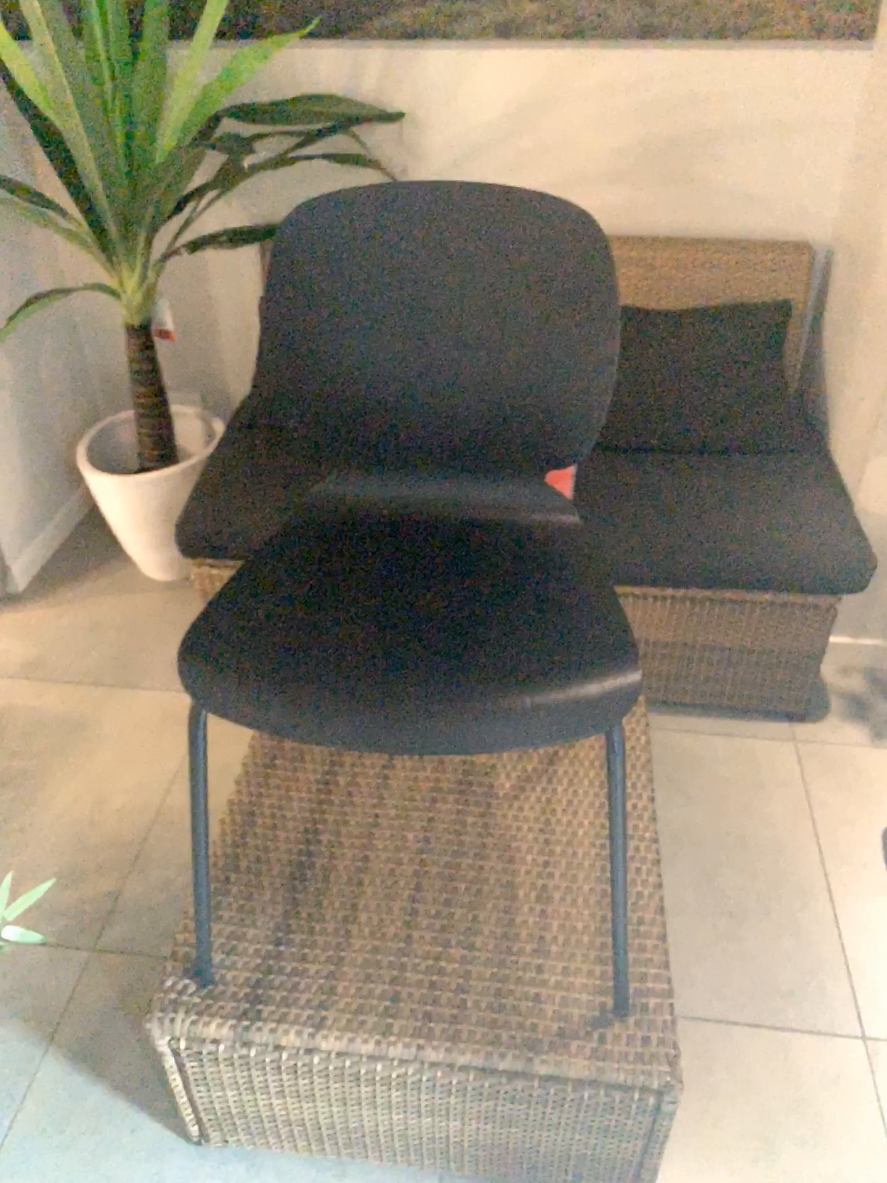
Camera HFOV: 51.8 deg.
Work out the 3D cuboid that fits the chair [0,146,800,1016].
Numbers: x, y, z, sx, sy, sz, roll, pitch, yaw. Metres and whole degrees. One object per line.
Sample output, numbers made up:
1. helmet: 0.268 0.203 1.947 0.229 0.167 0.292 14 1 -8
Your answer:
1. chair: -0.024 -0.019 1.026 0.530 0.767 0.562 3 37 4
